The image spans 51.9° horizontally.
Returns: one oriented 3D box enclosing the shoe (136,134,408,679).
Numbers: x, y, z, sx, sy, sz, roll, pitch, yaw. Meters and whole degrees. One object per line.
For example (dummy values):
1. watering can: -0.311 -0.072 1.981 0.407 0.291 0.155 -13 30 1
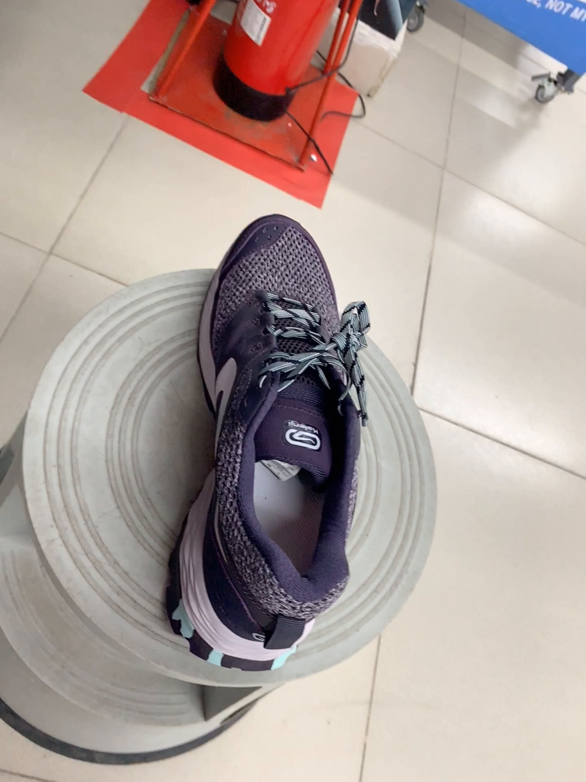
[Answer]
1. shoe: -0.007 0.007 0.359 0.100 0.110 0.291 14 61 -18
